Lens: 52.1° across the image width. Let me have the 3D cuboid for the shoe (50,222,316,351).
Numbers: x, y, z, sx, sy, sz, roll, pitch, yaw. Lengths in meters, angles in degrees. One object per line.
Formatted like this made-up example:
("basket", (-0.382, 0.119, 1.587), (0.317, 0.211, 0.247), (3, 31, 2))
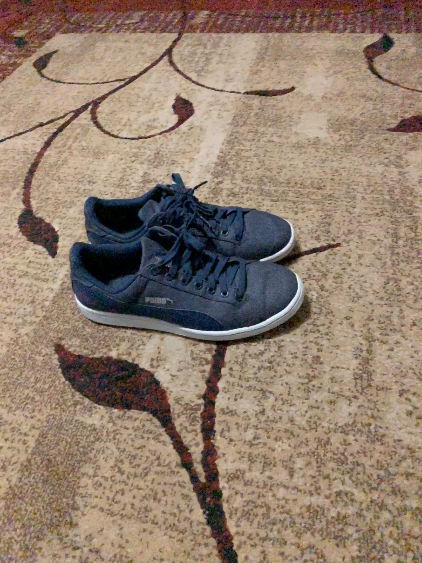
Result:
("shoe", (-0.024, 0.003, 0.504), (0.274, 0.090, 0.107), (2, 50, 8))

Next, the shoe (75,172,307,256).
("shoe", (-0.021, -0.088, 0.554), (0.274, 0.050, 0.100), (1, 50, 7))
